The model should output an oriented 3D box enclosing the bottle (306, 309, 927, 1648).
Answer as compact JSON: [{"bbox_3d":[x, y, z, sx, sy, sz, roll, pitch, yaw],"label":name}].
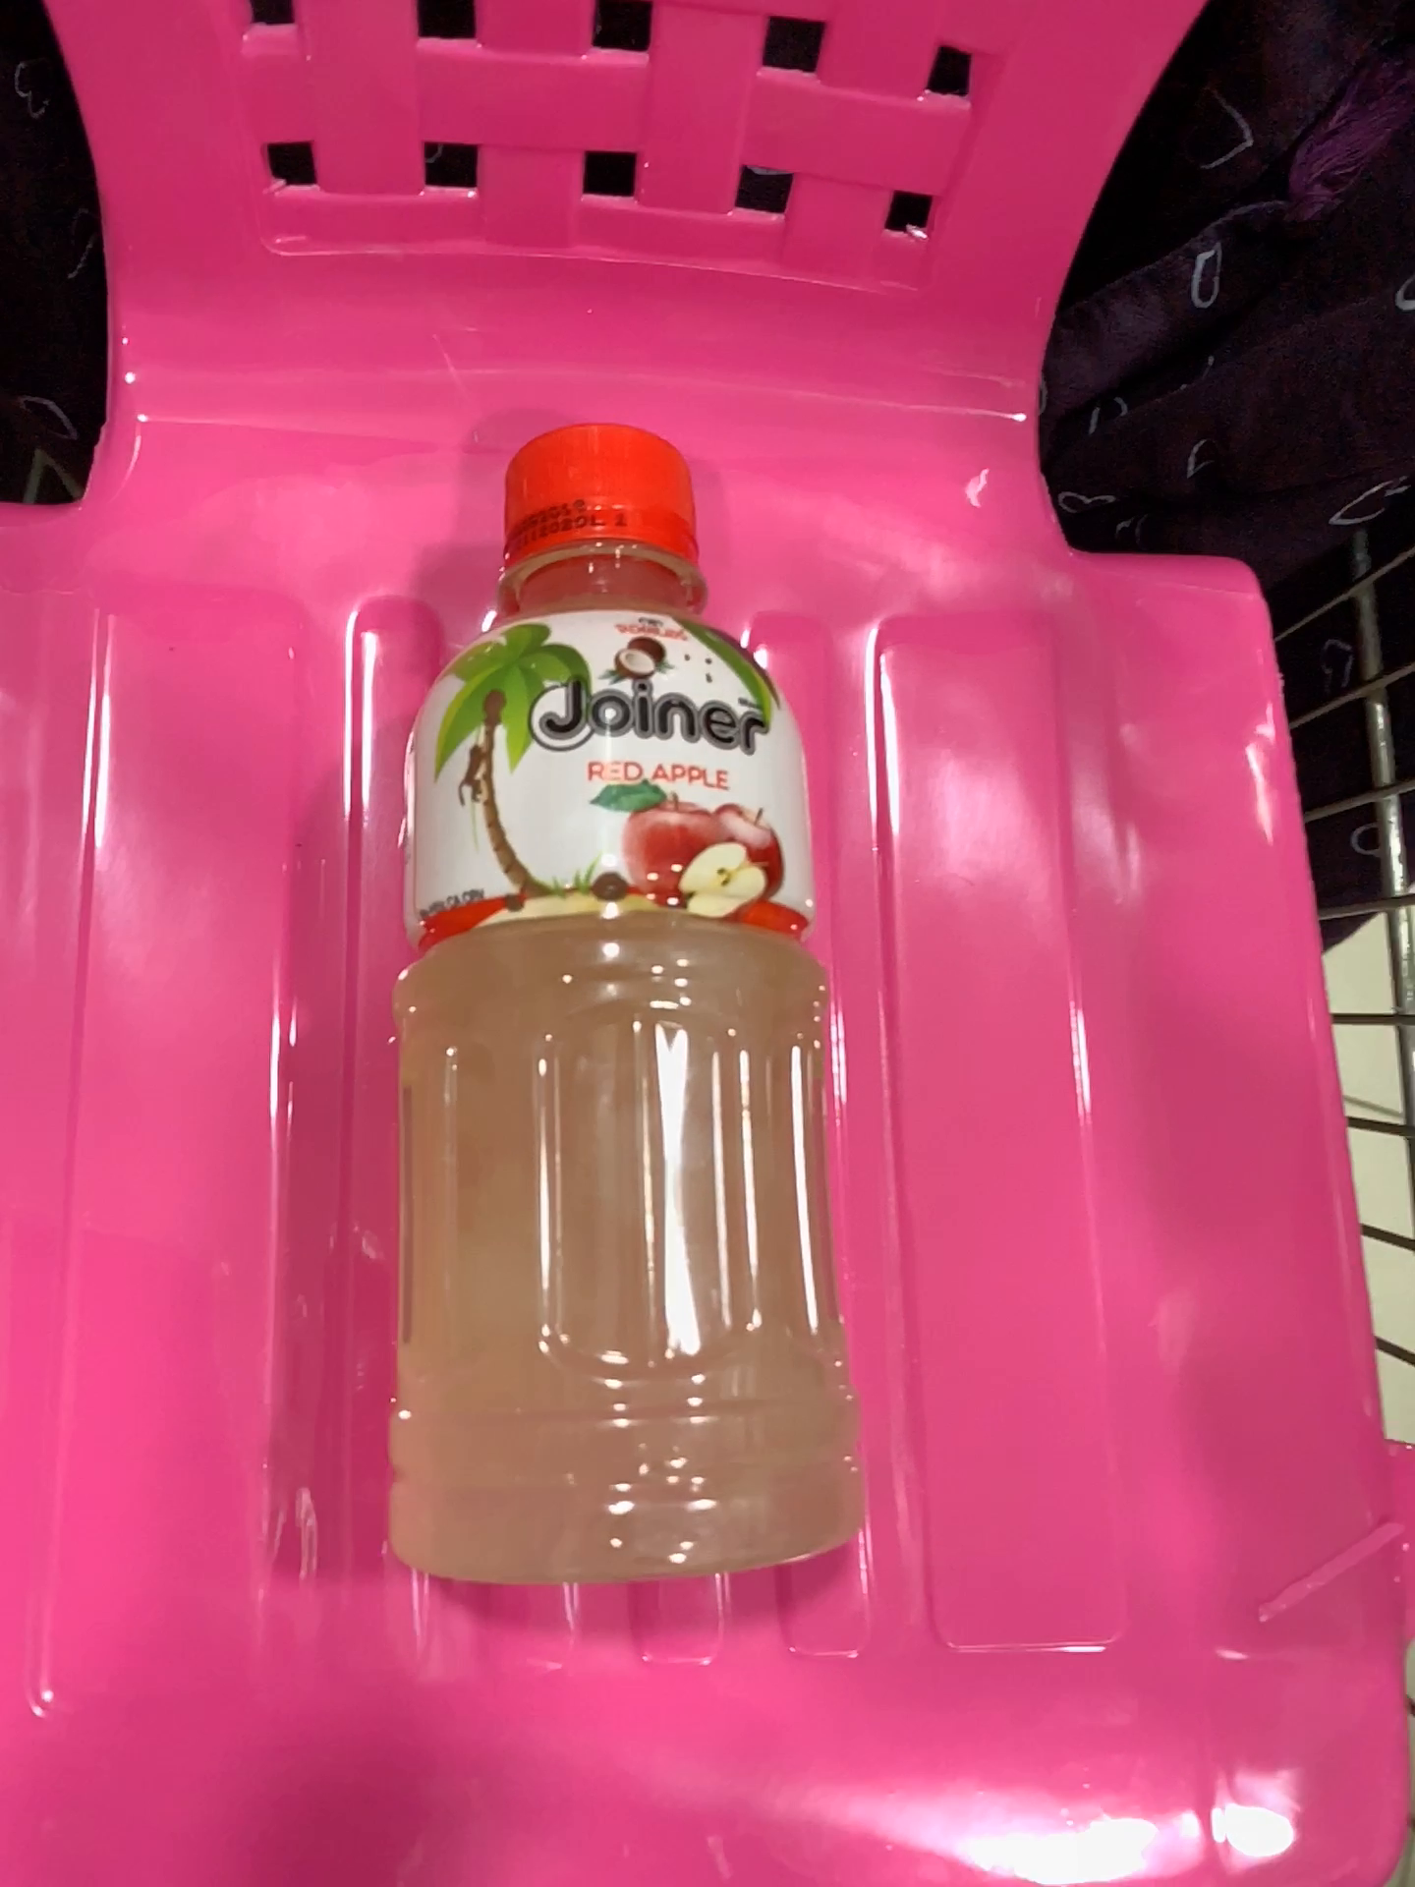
[{"bbox_3d":[-0.016,0.002,0.202,0.070,0.050,0.160,0,80,-9],"label":"bottle"}]
